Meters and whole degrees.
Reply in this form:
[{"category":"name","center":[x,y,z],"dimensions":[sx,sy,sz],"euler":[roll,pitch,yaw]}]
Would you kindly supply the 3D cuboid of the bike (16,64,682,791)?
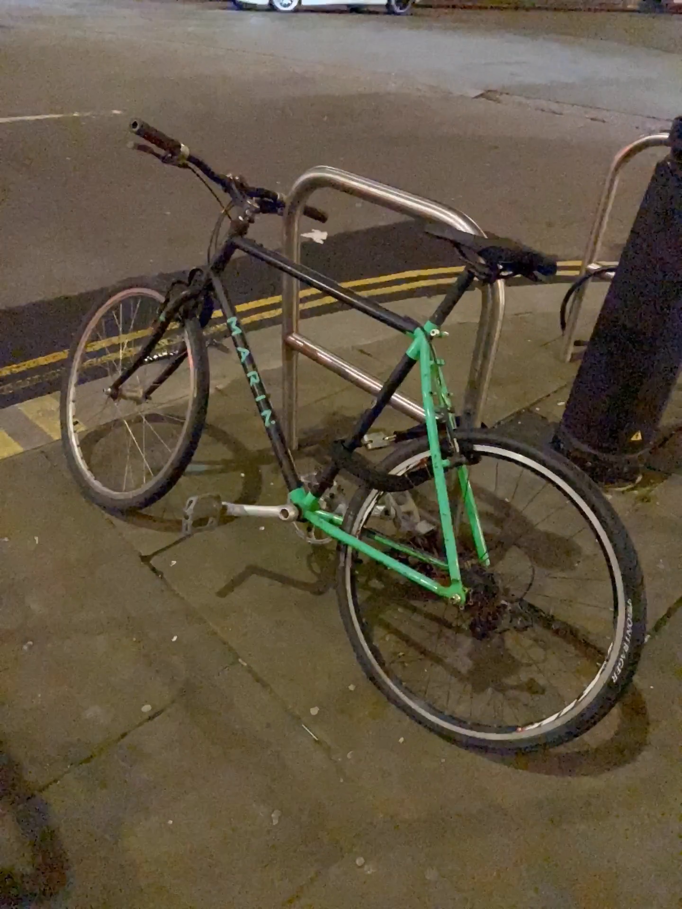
[{"category":"bike","center":[0.044,-0.240,1.714],"dimensions":[1.690,1.014,0.641],"euler":[29,44,30]}]
